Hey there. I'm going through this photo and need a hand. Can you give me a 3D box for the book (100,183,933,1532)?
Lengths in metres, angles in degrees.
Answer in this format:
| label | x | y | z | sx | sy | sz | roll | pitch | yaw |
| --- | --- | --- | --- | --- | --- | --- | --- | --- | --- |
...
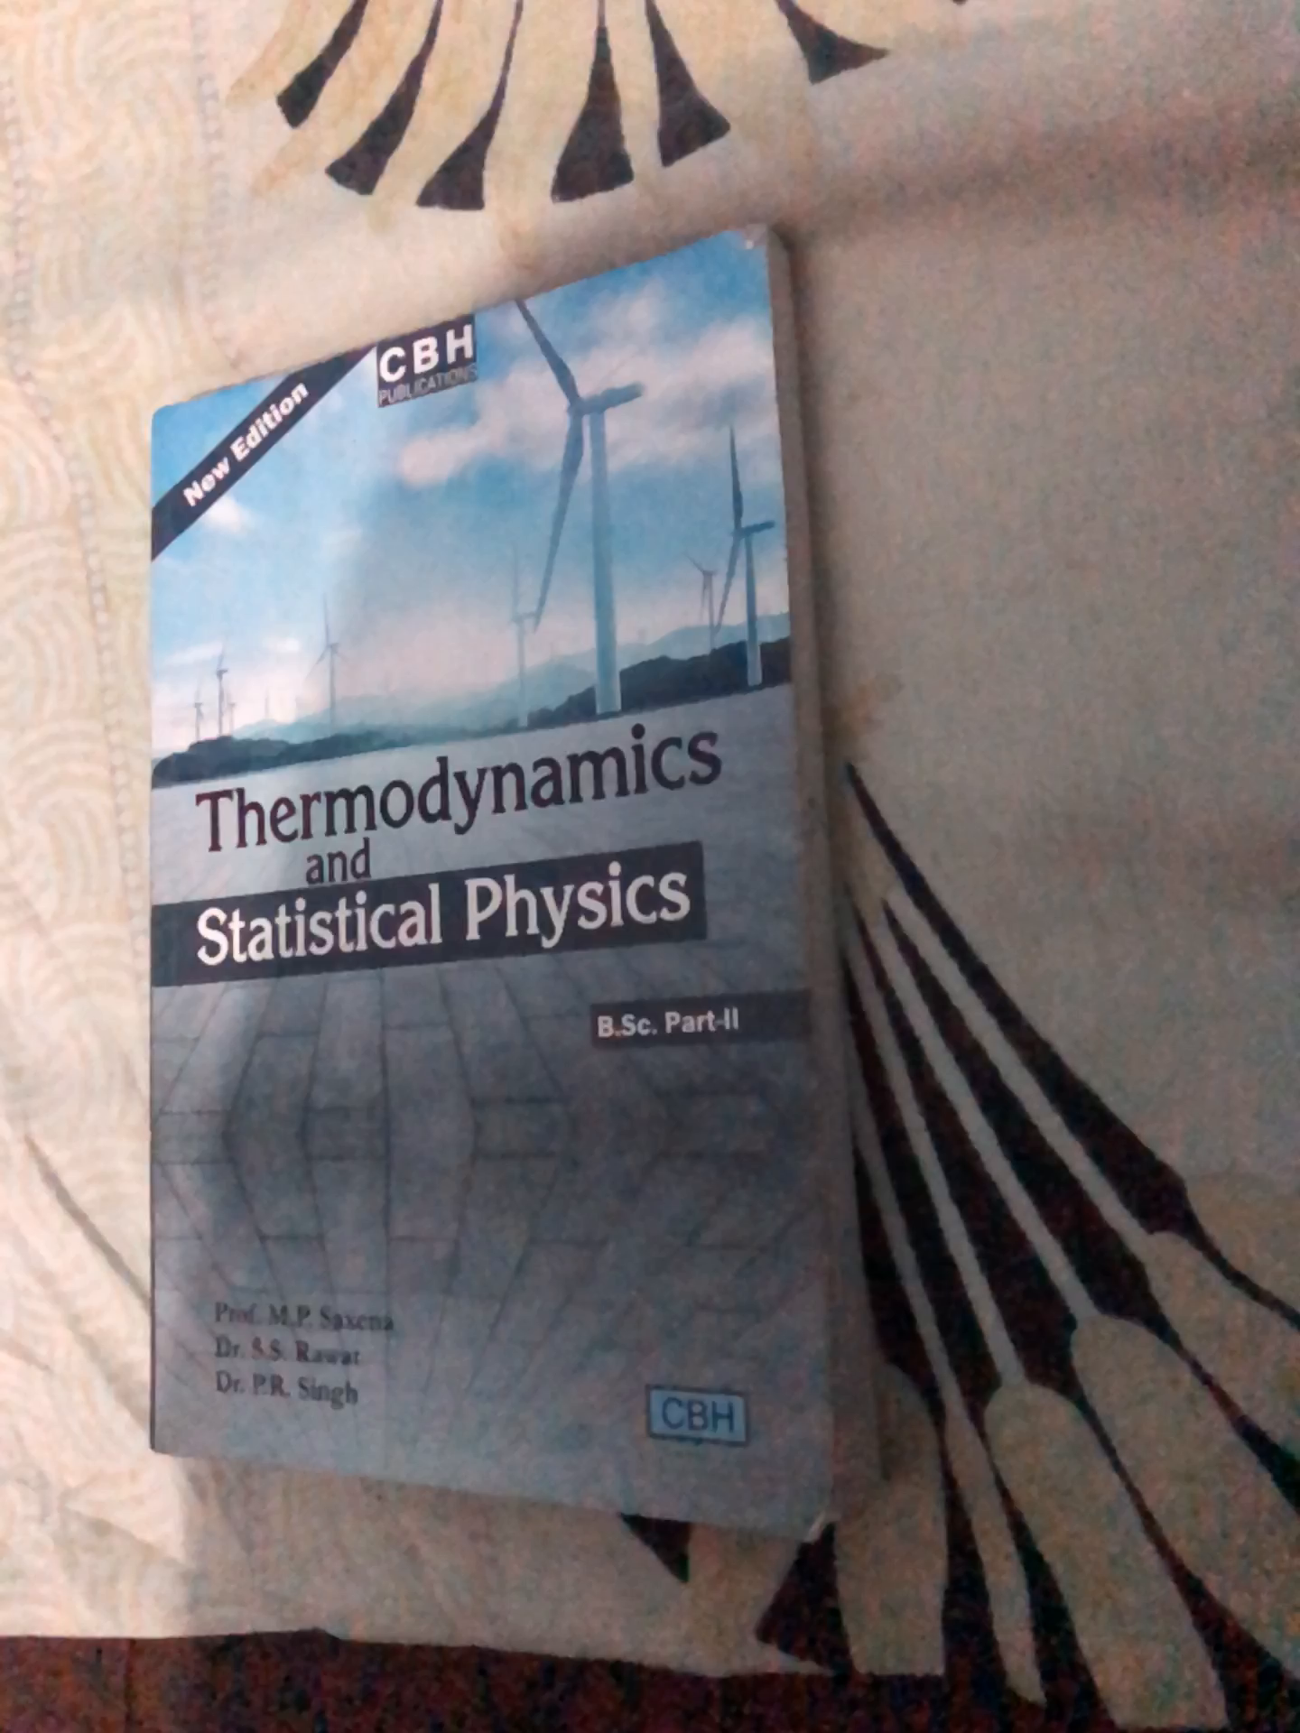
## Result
| label | x | y | z | sx | sy | sz | roll | pitch | yaw |
| --- | --- | --- | --- | --- | --- | --- | --- | --- | --- |
| book | -0.038 | 0.004 | 0.309 | 0.170 | 0.030 | 0.240 | -7 | 86 | 27 |
